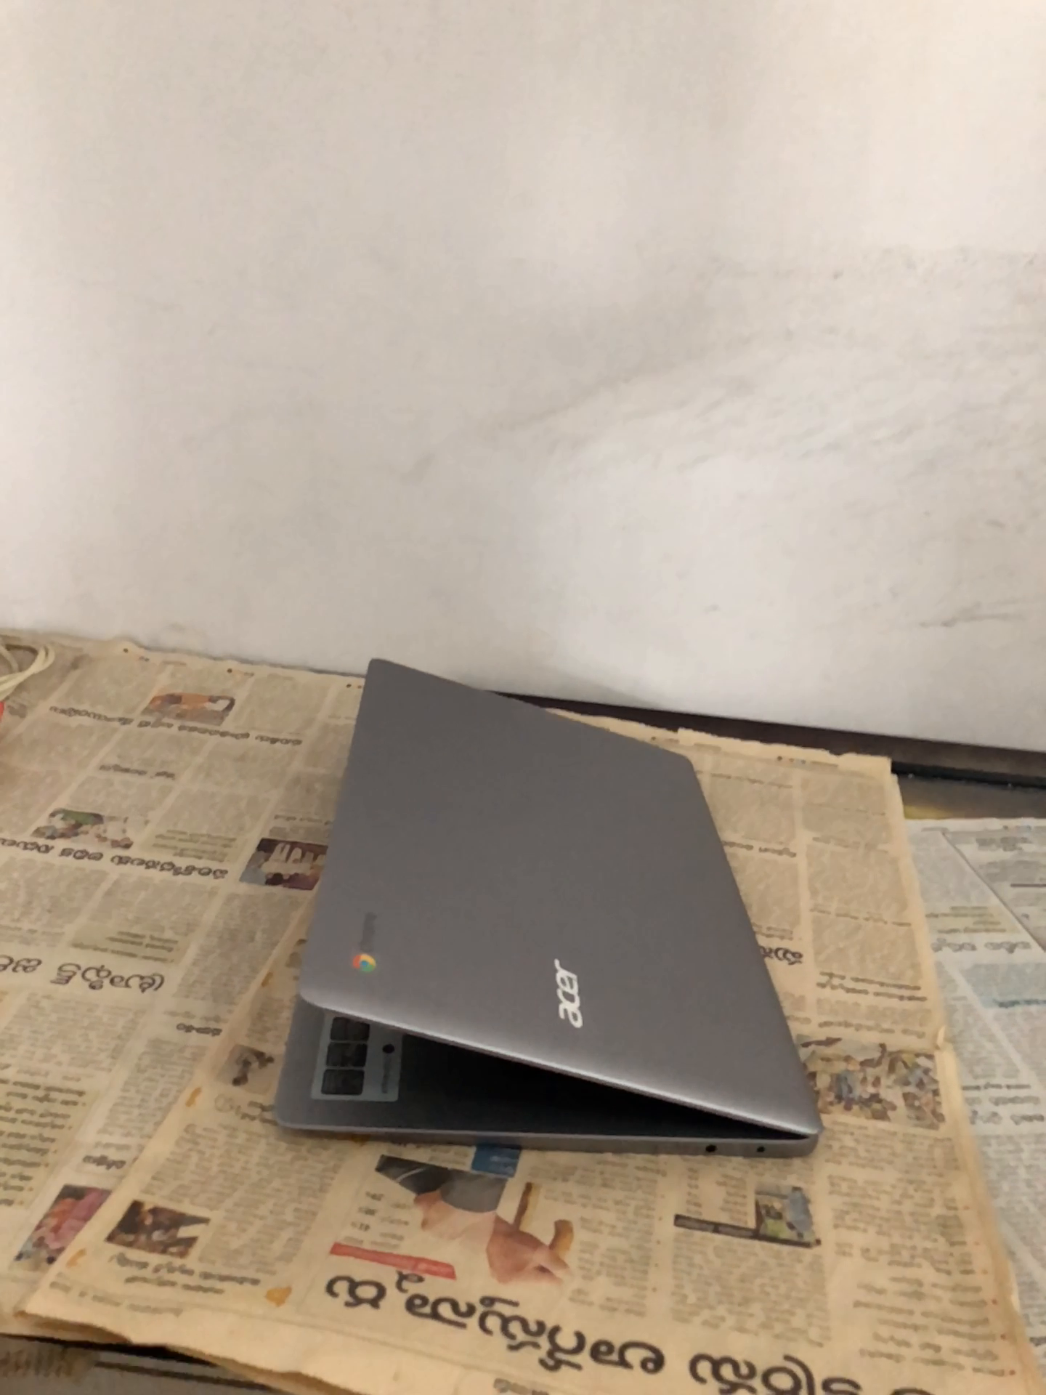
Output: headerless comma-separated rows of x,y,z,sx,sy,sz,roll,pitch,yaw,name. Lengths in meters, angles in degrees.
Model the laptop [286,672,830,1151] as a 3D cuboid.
0.007,0.085,0.605,0.210,0.058,0.332,4,24,-3,laptop
